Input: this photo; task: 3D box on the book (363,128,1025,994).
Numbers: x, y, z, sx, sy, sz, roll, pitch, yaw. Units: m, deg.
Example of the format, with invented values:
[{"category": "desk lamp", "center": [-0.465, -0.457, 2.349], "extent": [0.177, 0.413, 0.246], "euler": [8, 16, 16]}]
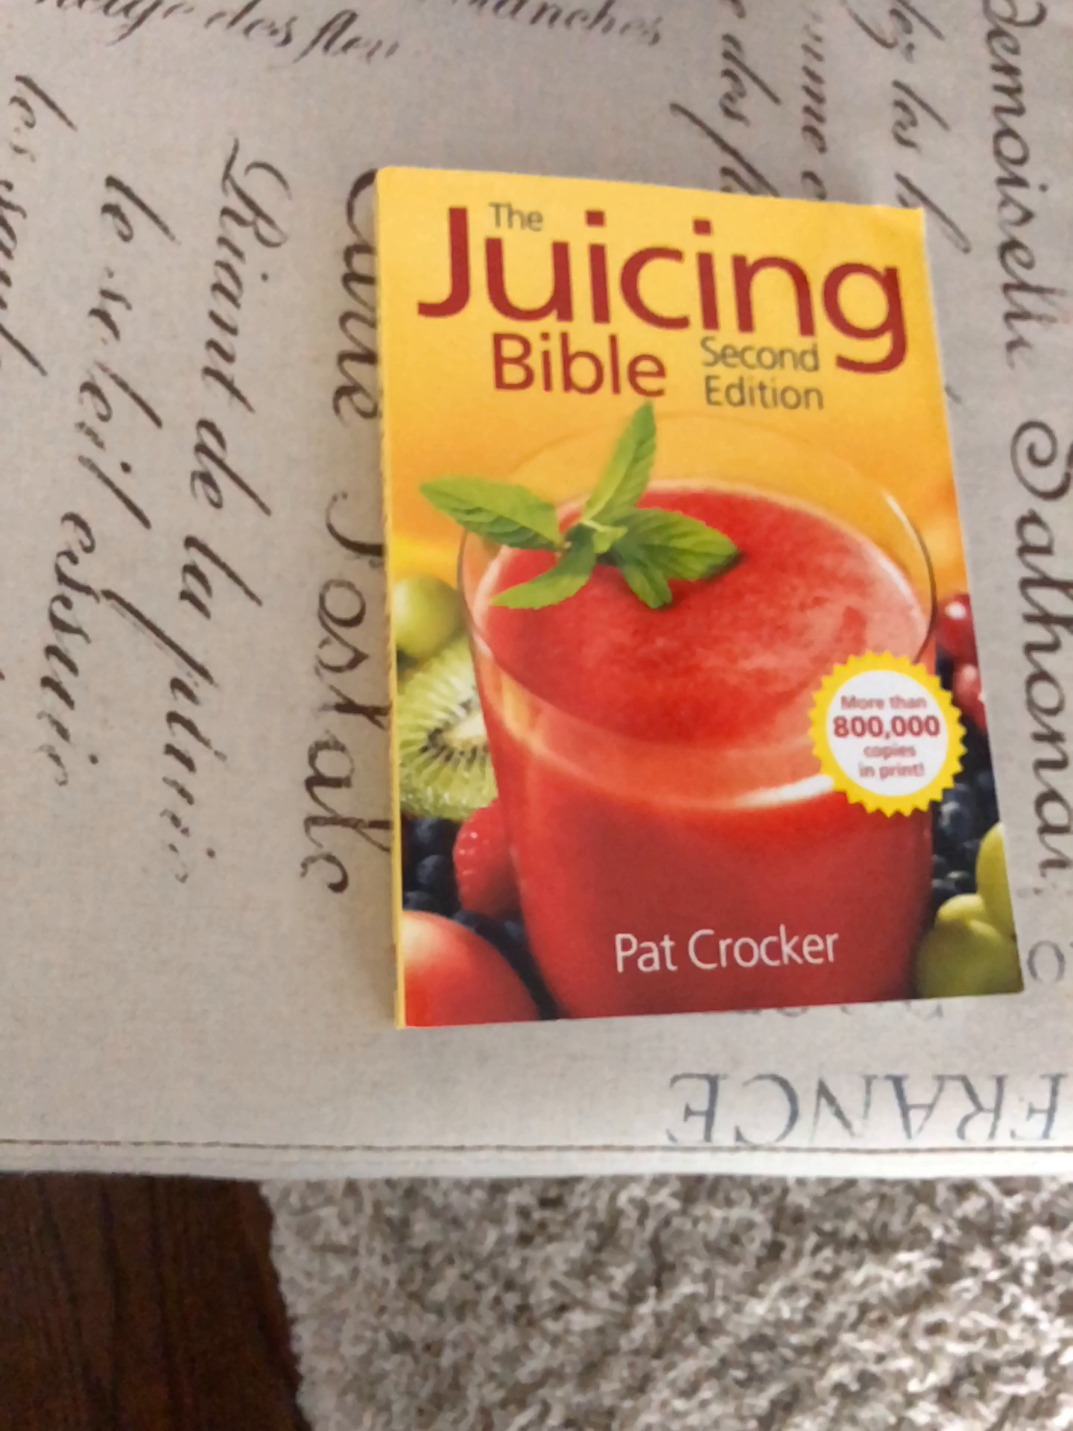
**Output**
[{"category": "book", "center": [0.041, -0.048, 0.362], "extent": [0.180, 0.030, 0.250], "euler": [0, 77, -11]}]
